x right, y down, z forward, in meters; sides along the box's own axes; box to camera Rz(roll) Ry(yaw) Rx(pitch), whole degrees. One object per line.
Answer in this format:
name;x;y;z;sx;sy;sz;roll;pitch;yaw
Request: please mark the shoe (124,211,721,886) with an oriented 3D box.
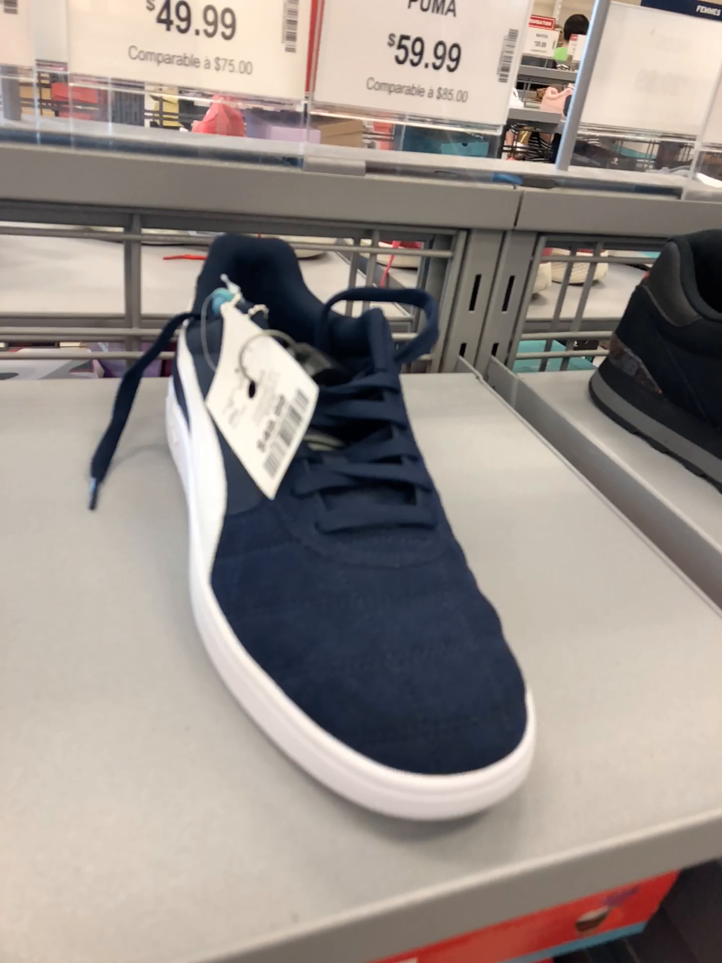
shoe;-0.013;-0.009;0.299;0.119;0.119;0.242;-5;32;-22
